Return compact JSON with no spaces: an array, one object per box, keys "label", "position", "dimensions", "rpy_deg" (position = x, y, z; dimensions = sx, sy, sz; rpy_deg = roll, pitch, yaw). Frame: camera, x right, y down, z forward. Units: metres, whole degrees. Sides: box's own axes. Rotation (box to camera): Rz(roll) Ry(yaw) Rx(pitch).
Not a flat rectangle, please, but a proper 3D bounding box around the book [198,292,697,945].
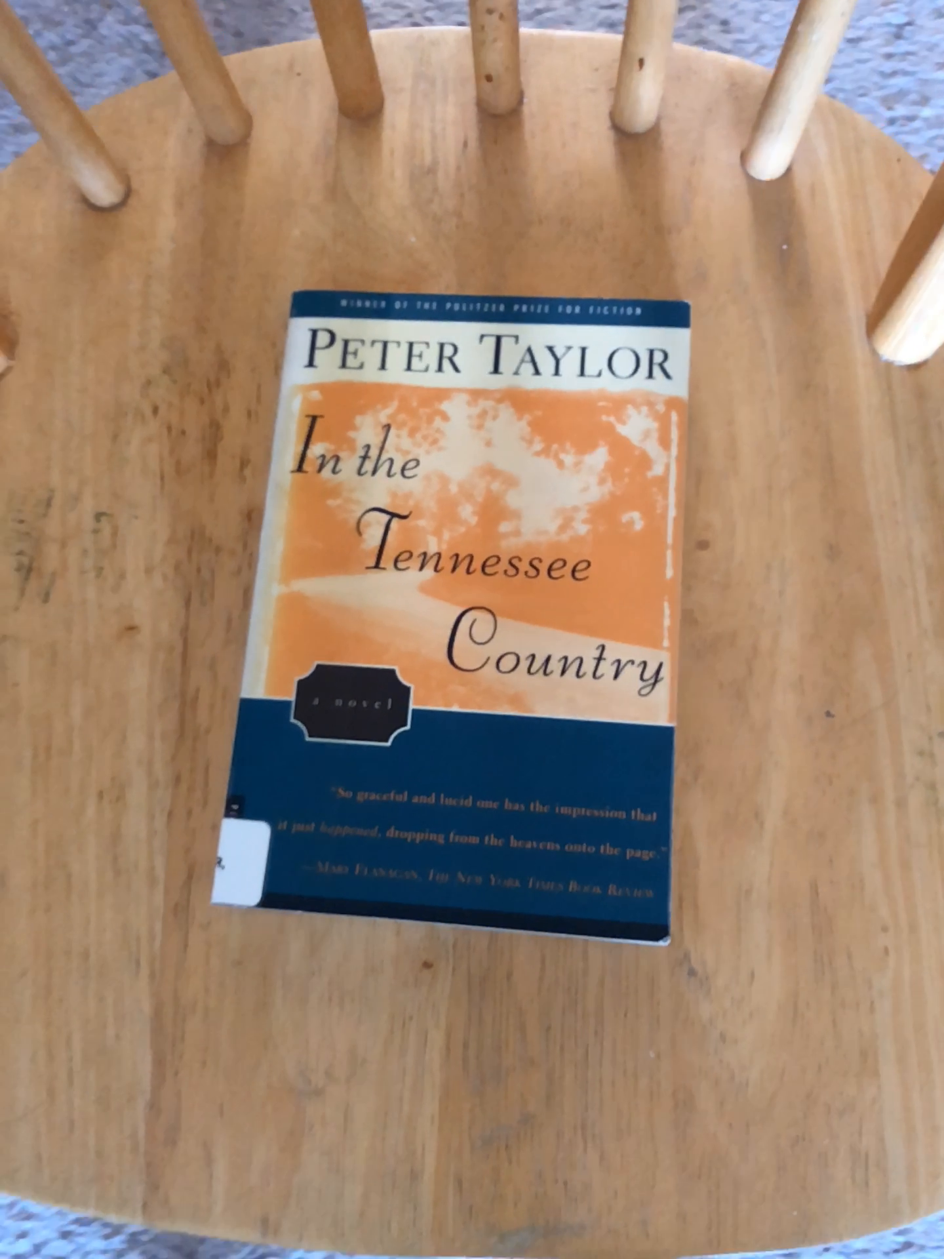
[{"label":"book","position":[-0.002,-0.010,0.336],"dimensions":[0.136,0.025,0.200],"rpy_deg":[4,76,6]}]
